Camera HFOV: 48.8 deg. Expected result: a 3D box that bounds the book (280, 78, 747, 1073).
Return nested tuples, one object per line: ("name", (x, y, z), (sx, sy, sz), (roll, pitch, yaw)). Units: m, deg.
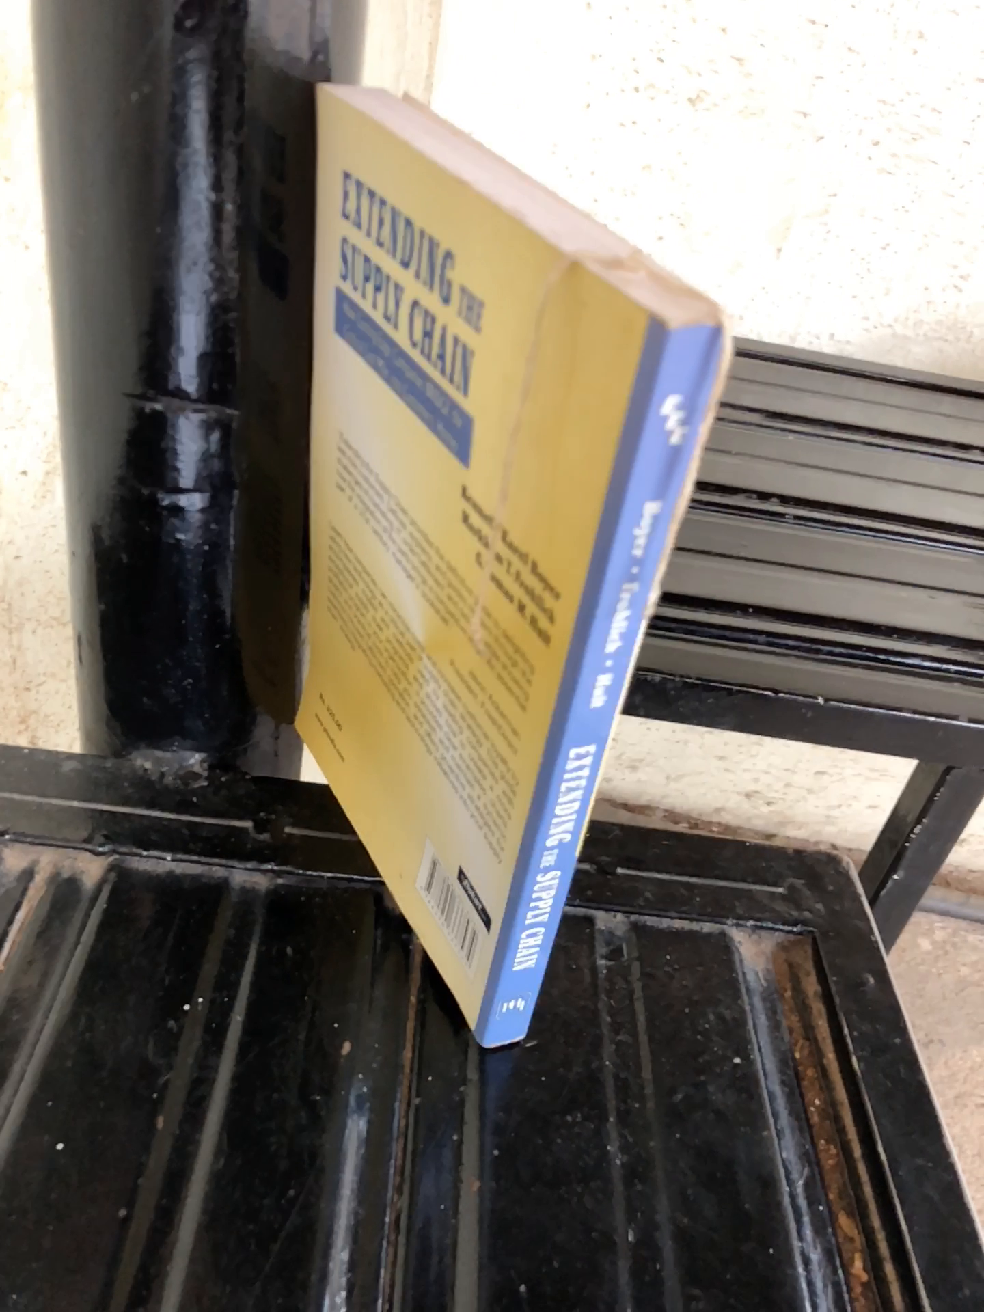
("book", (-0.018, -0.016, 0.301), (0.030, 0.229, 0.150), (-13, 43, -26))
